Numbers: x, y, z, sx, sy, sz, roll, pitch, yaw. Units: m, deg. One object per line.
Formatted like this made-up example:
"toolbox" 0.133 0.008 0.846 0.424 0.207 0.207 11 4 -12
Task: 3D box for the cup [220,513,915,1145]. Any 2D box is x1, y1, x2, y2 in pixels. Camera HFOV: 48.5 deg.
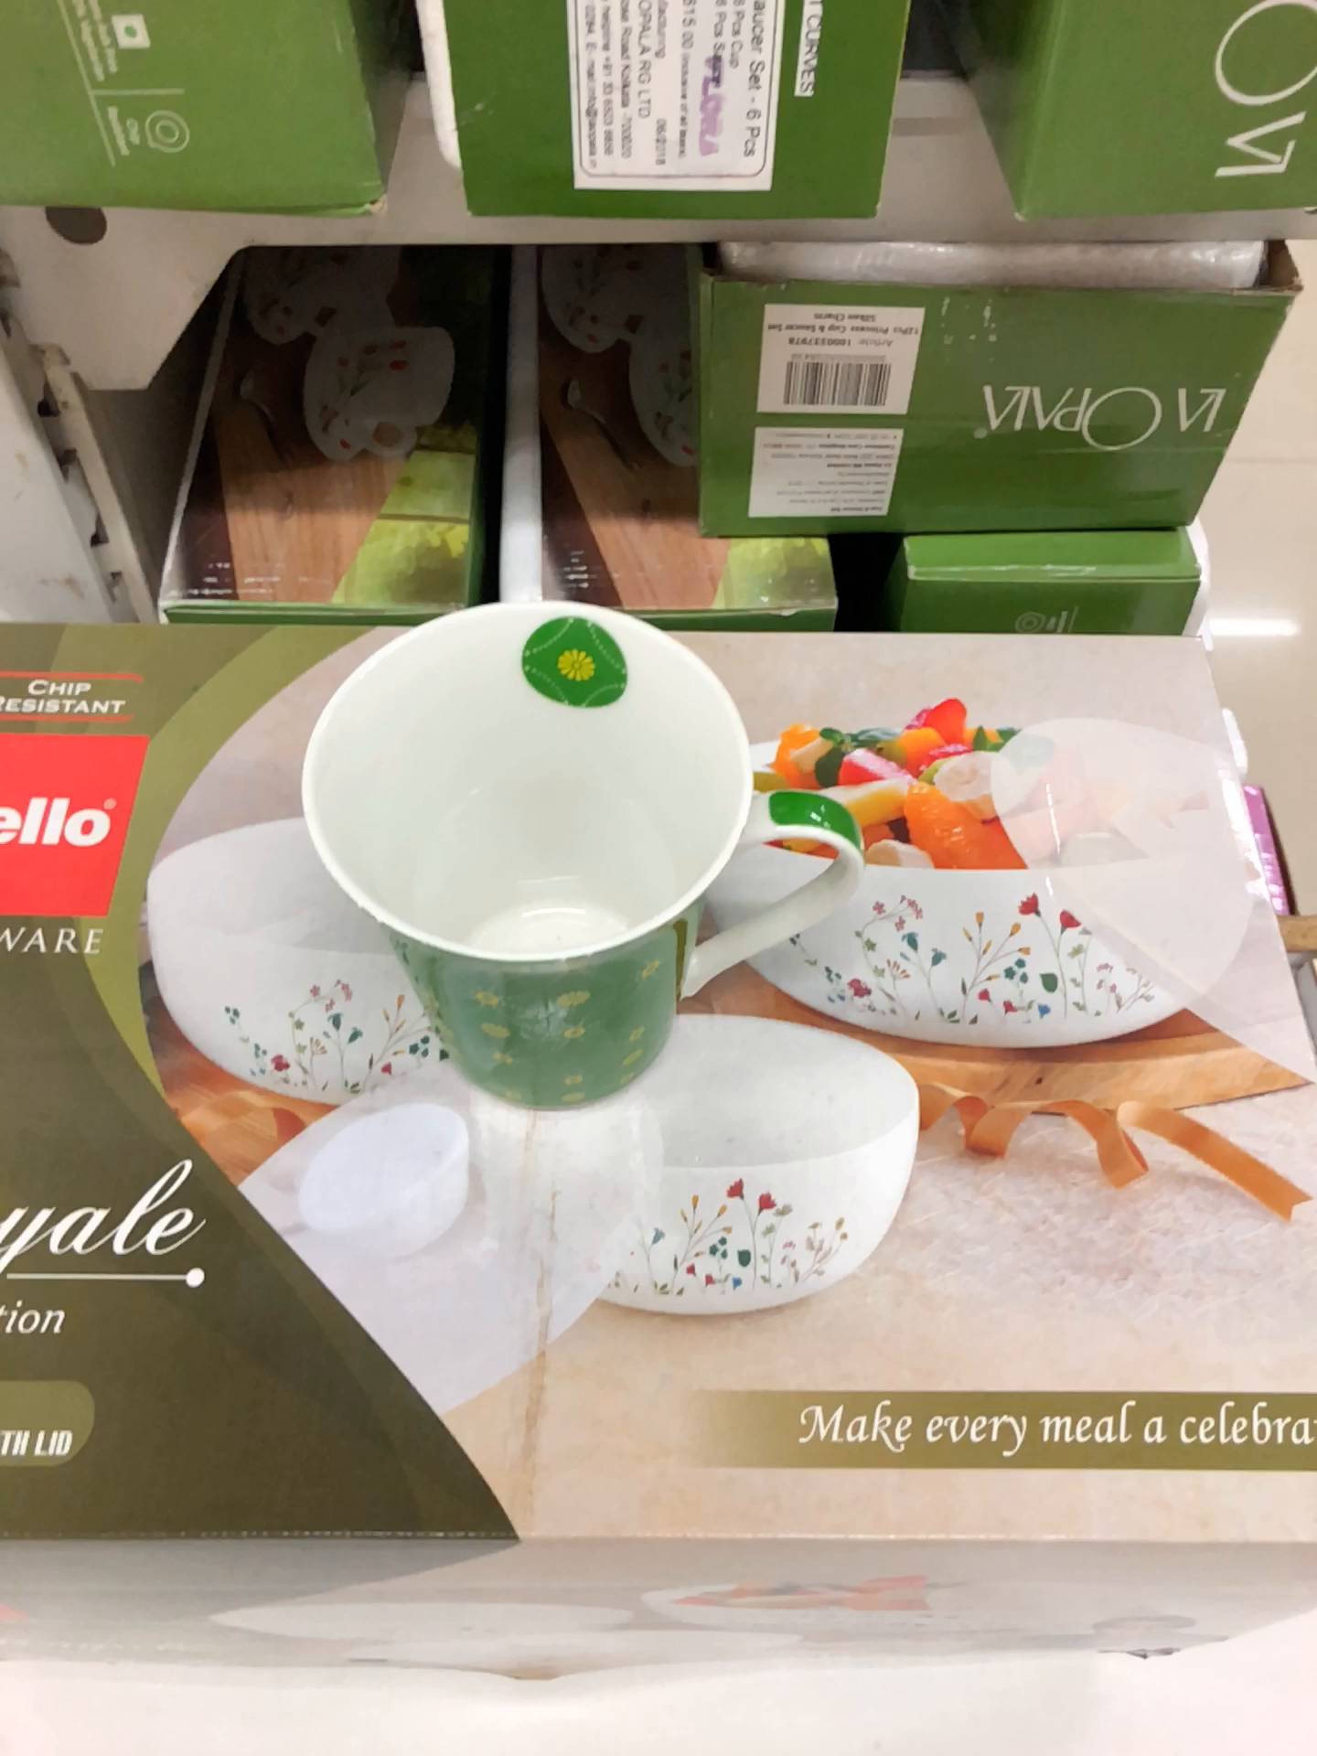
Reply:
"cup" -0.015 -0.007 0.294 0.110 0.090 0.090 1 55 -1
